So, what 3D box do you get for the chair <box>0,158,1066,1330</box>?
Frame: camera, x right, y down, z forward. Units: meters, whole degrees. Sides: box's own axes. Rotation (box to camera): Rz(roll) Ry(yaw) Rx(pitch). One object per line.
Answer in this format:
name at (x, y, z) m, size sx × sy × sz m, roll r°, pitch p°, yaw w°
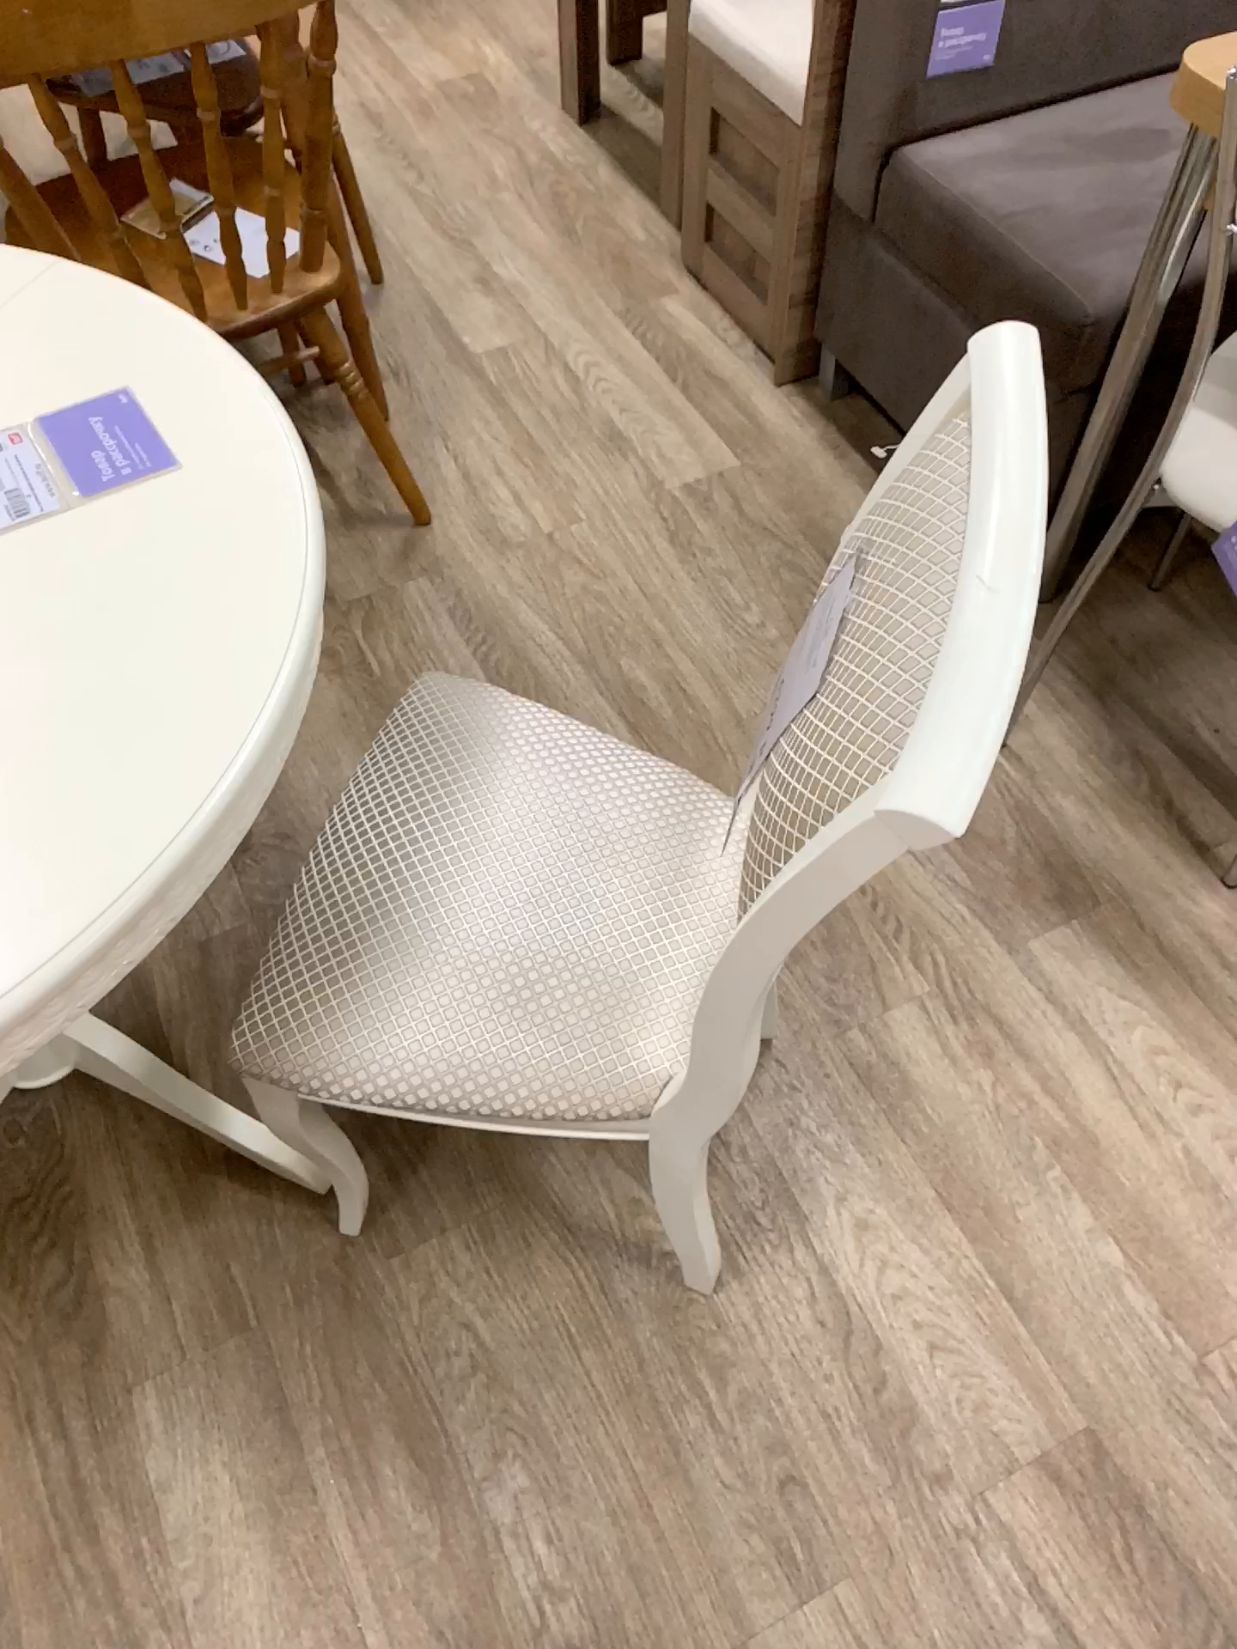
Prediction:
chair at (-0.008, 0.028, 1.085) m, size 0.510 × 0.907 × 0.462 m, roll 9°, pitch 55°, yaw 7°
